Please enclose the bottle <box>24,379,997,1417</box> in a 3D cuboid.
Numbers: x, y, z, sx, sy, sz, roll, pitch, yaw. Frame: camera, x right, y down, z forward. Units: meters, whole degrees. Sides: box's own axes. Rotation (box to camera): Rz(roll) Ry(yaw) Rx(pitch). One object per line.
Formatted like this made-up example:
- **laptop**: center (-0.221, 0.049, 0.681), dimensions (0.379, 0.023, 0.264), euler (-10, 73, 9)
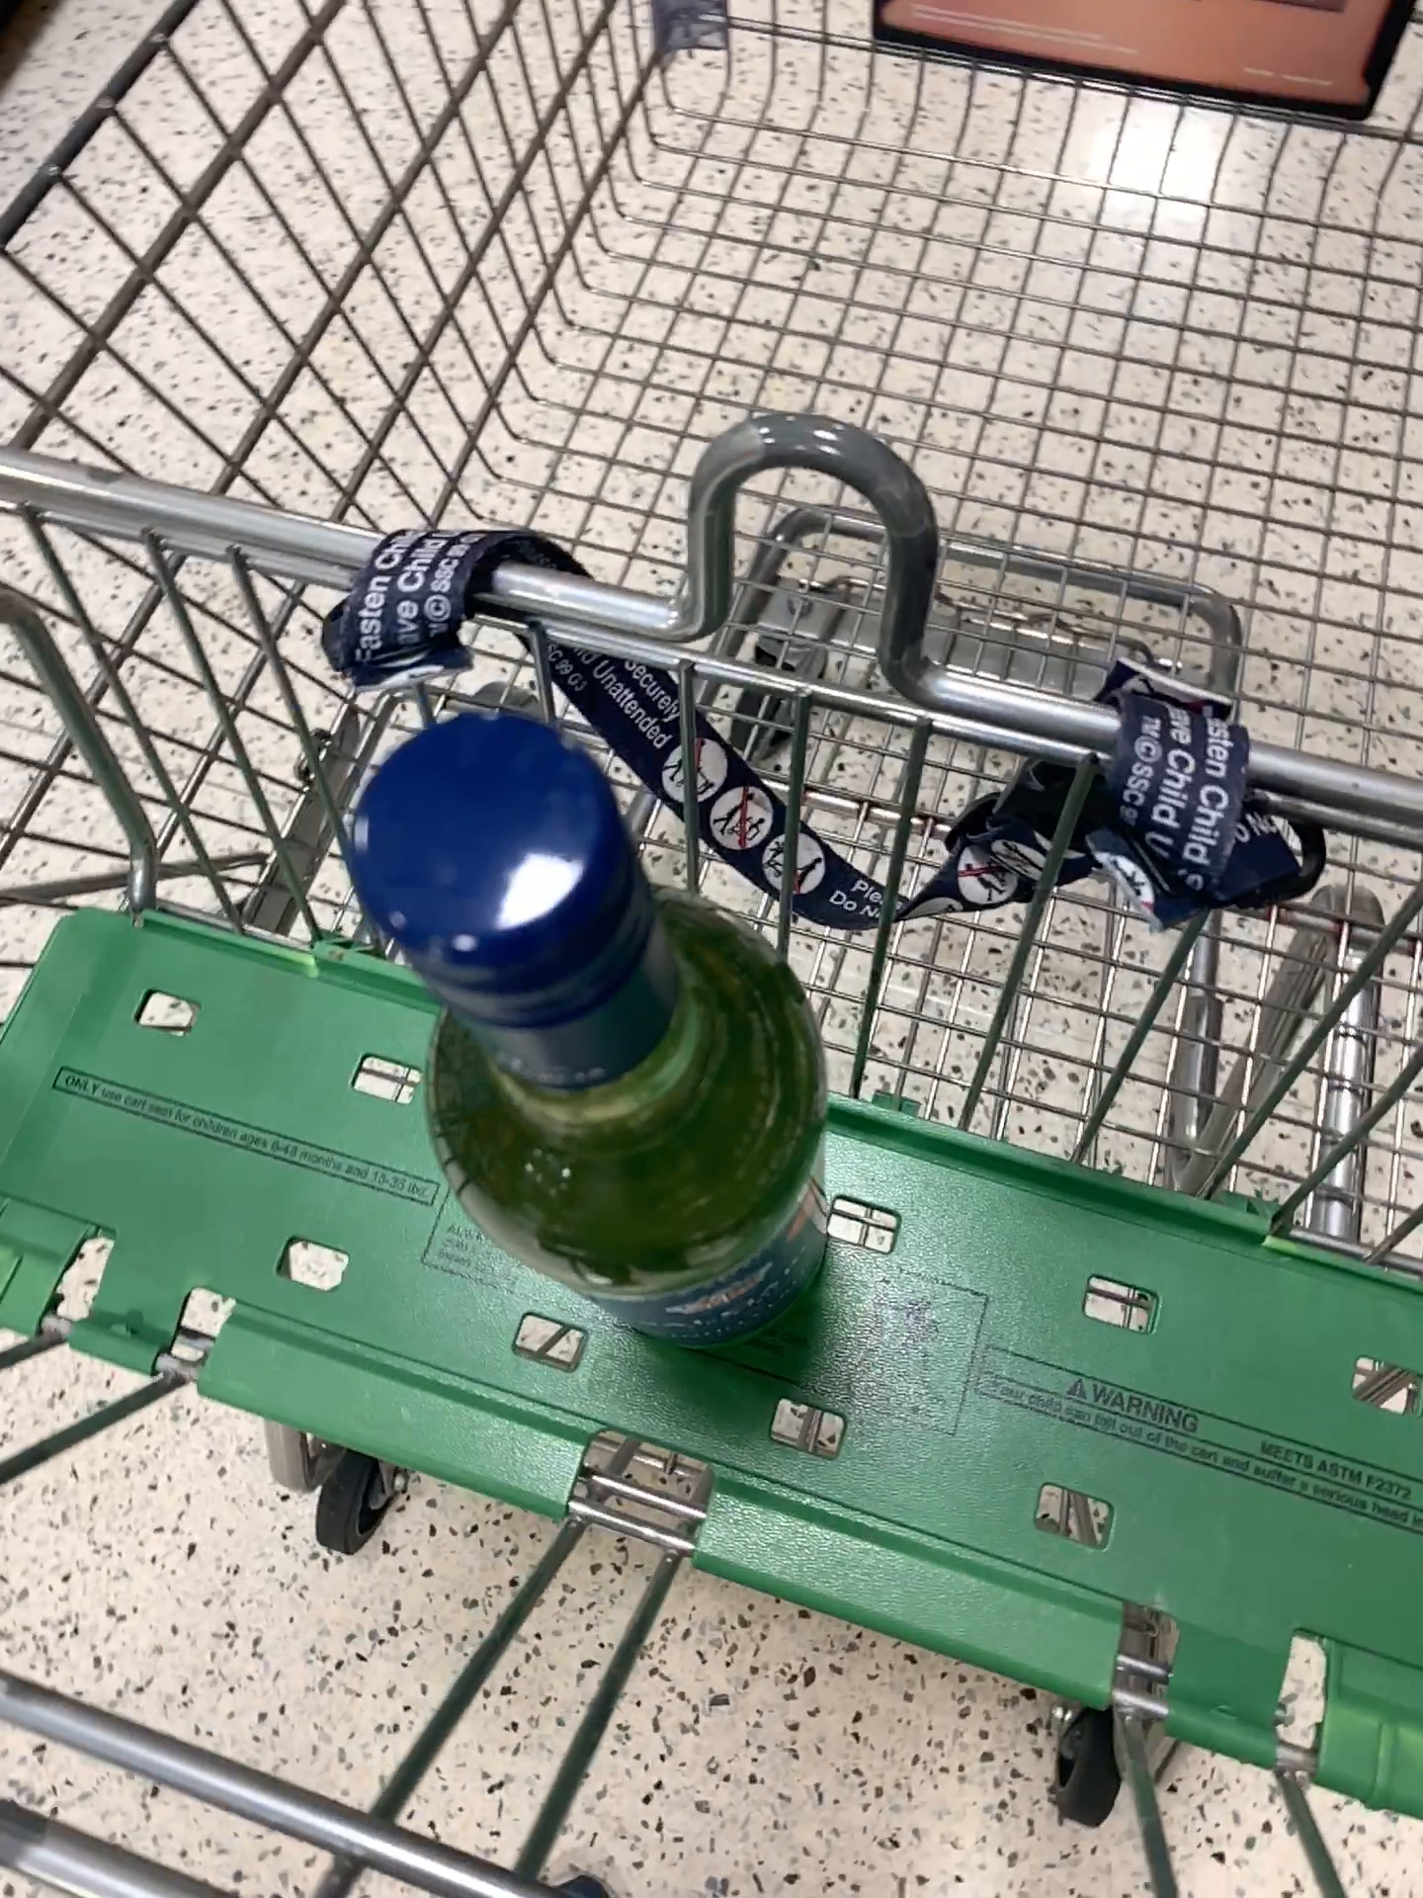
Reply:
- **bottle**: center (-0.014, 0.034, 0.294), dimensions (0.080, 0.299, 0.080), euler (-1, 70, 4)
